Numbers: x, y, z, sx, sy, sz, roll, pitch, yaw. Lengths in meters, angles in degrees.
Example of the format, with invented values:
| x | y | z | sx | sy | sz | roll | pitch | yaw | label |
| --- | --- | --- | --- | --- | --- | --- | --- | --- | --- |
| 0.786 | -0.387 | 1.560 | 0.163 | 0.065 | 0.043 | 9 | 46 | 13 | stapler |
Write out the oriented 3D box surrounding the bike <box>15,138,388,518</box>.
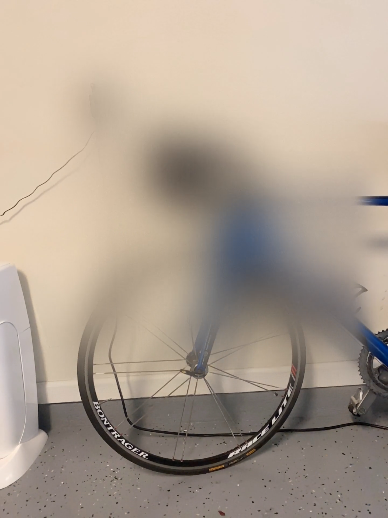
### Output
| x | y | z | sx | sy | sz | roll | pitch | yaw | label |
| --- | --- | --- | --- | --- | --- | --- | --- | --- | --- |
| 0.550 | 0.176 | 1.017 | 1.638 | 0.883 | 0.401 | -3 | 8 | -6 | bike |
